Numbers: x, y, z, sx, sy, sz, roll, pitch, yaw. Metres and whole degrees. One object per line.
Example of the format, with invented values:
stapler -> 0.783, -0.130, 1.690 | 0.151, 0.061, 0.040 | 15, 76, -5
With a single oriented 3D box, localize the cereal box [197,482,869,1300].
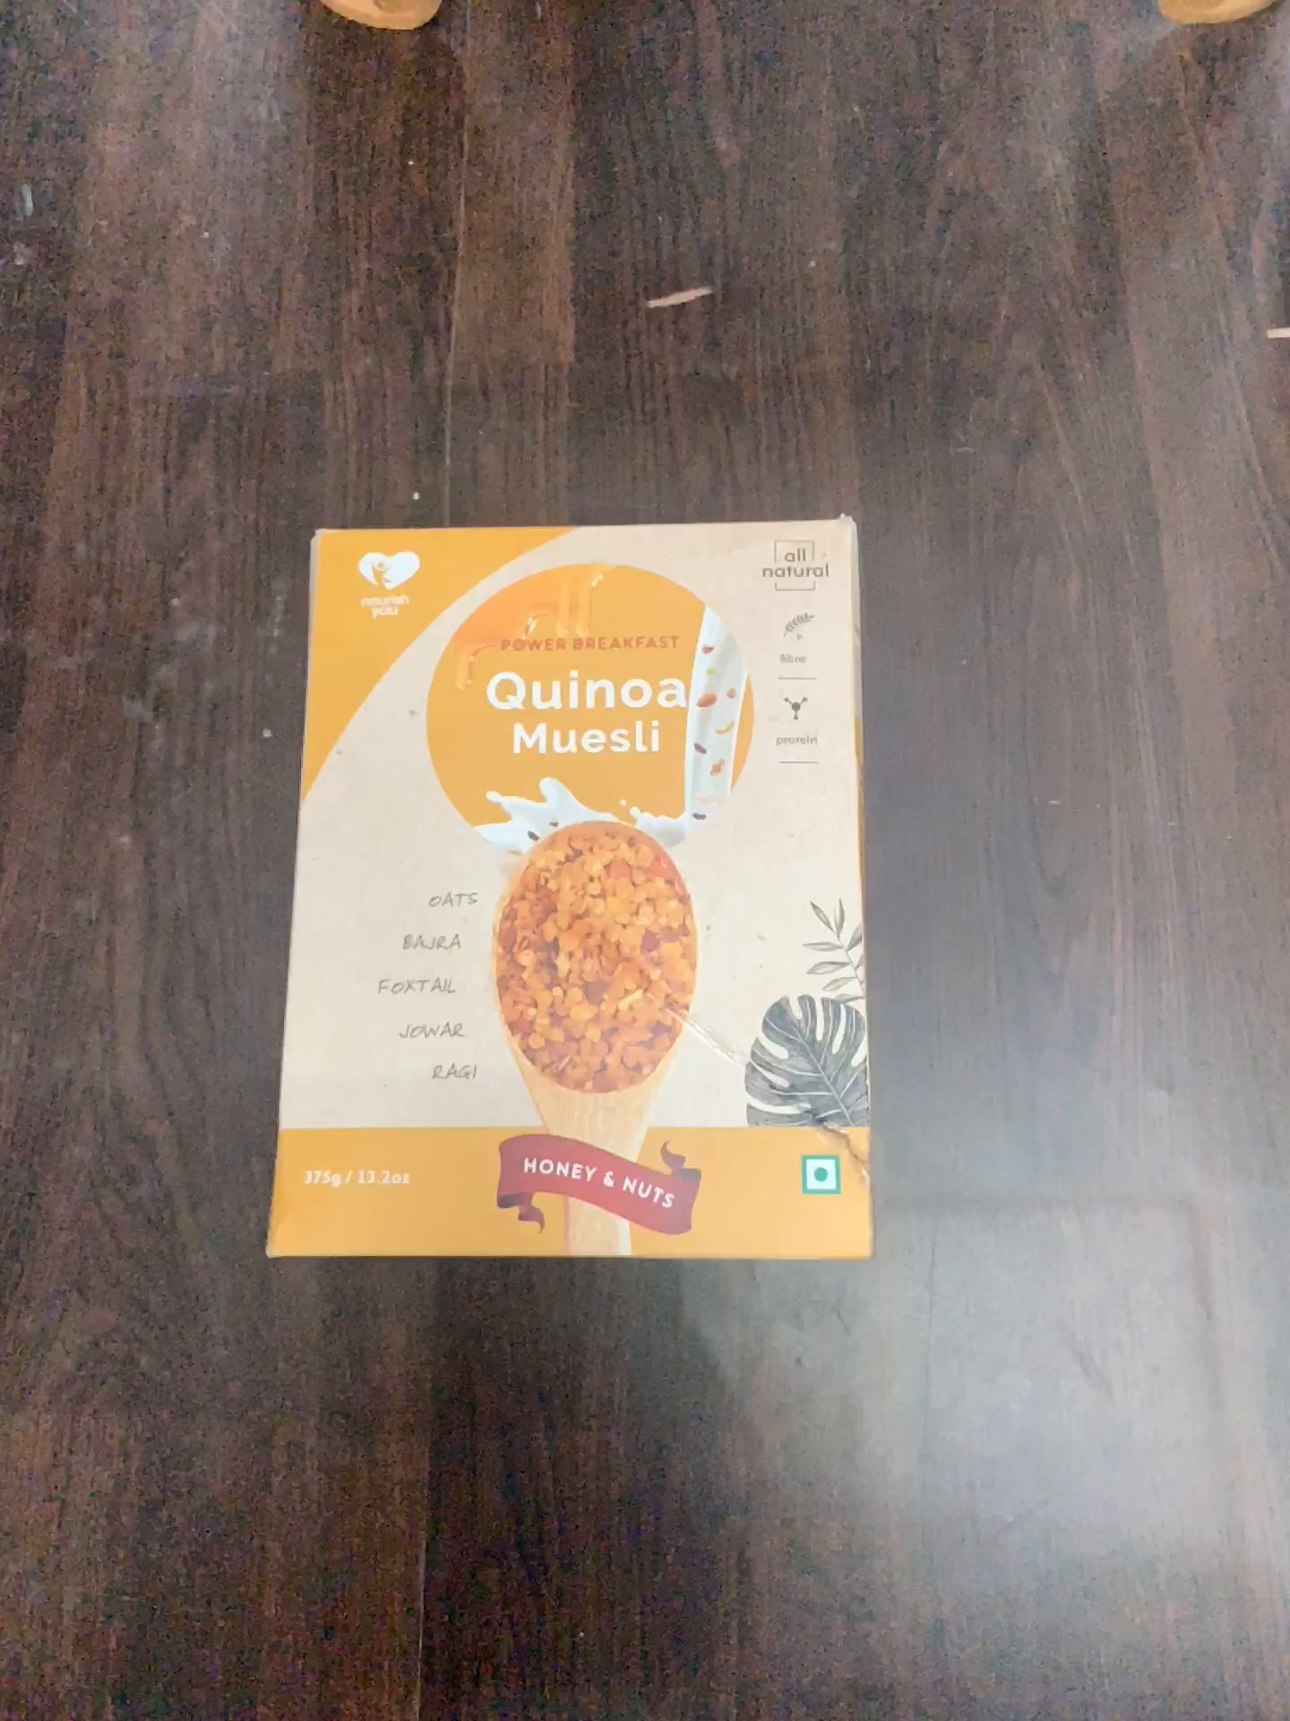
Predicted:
cereal box -> -0.027, 0.008, 0.386 | 0.170, 0.060, 0.220 | 0, 78, 3
